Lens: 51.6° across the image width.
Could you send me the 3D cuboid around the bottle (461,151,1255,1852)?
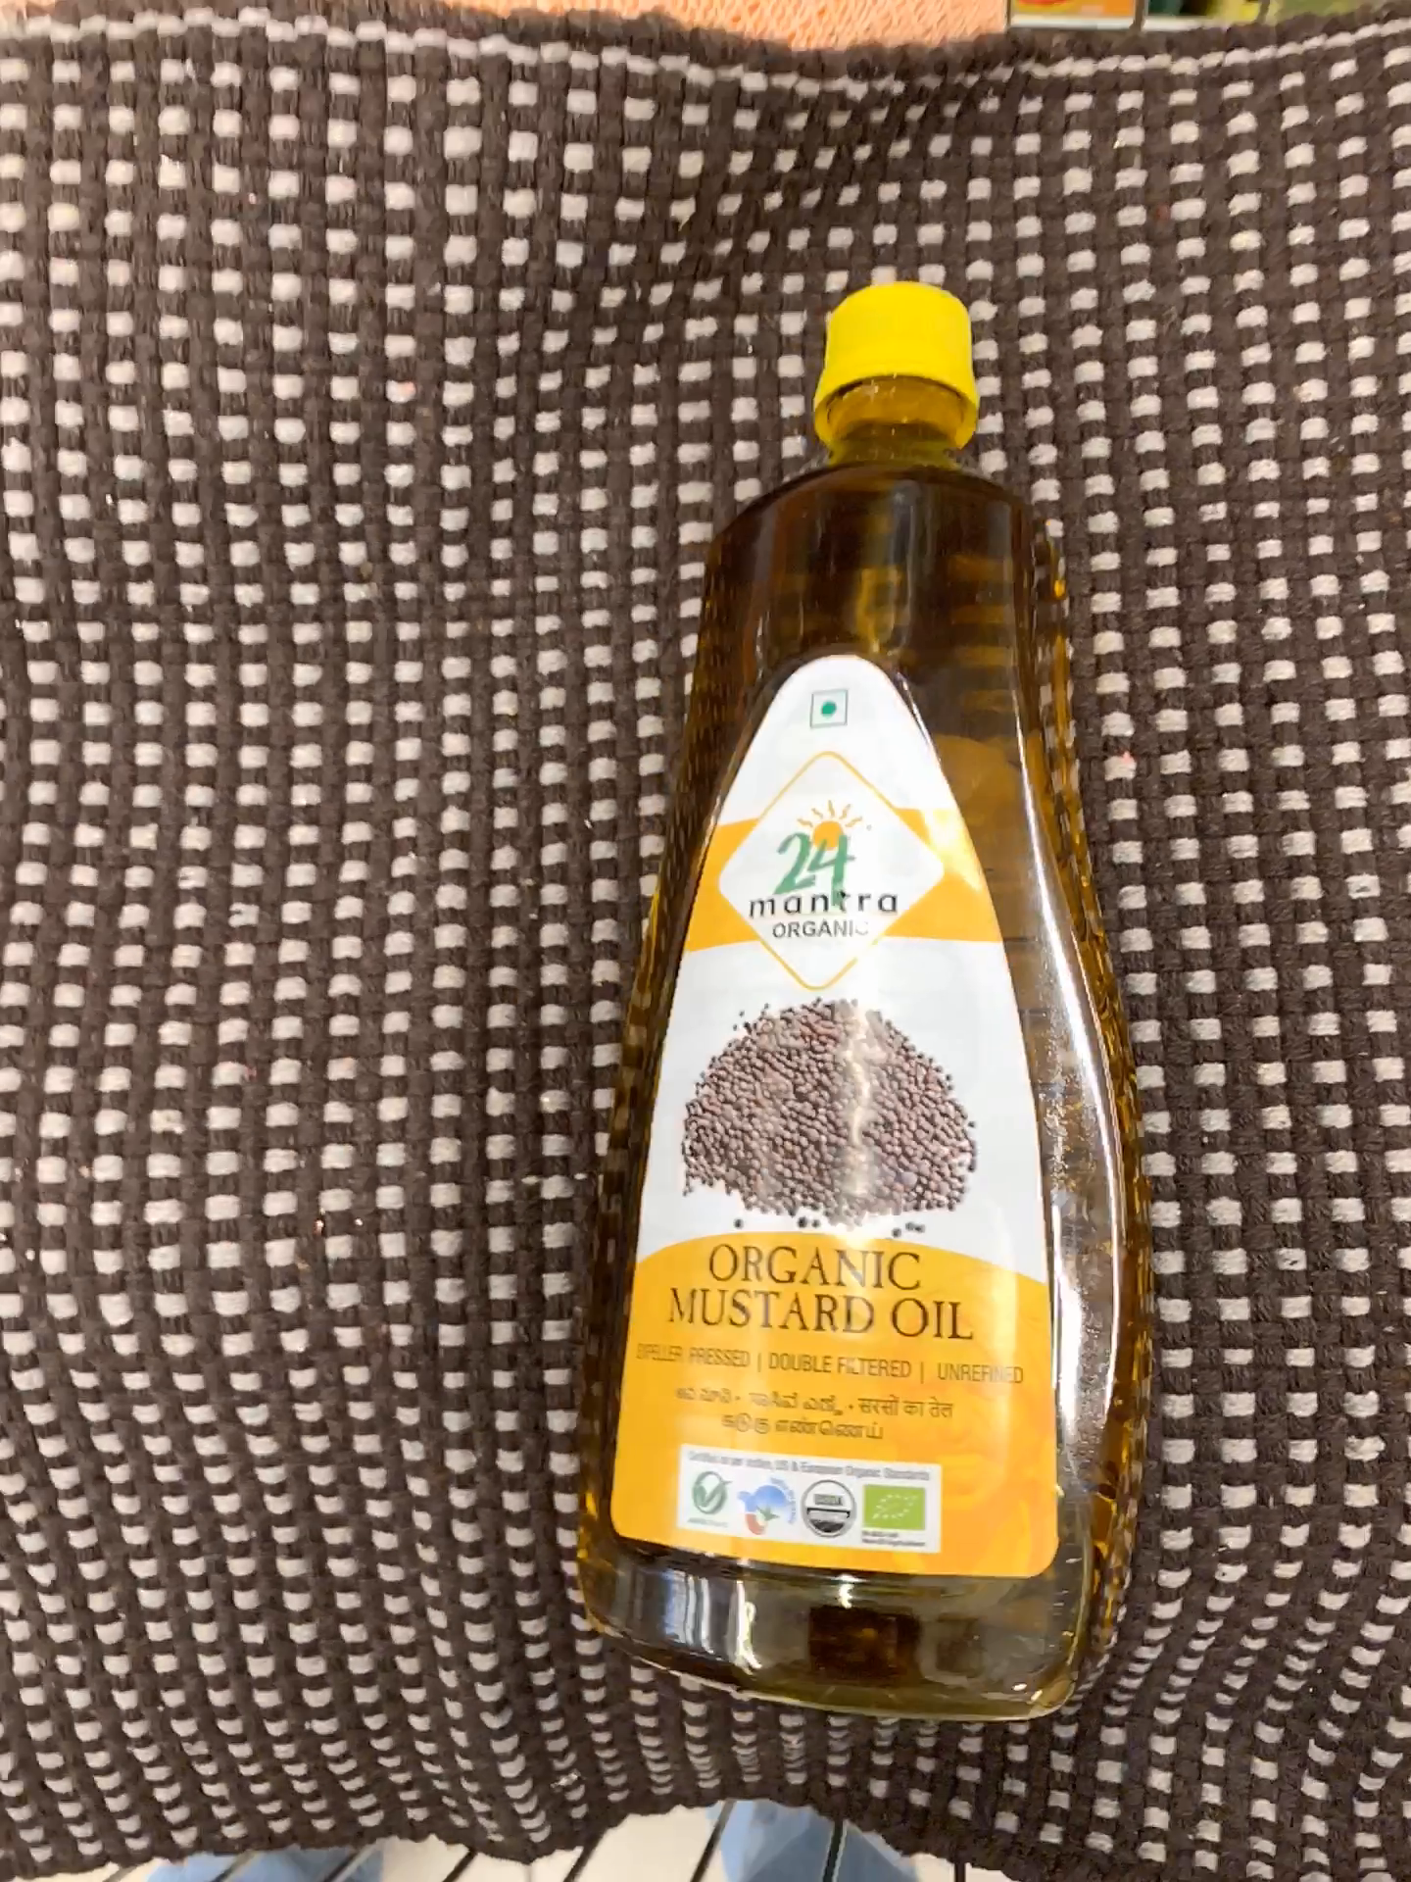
[{"bbox_3d":[0.030,0.004,0.259,0.110,0.060,0.250,3,87,18],"label":"bottle"}]
